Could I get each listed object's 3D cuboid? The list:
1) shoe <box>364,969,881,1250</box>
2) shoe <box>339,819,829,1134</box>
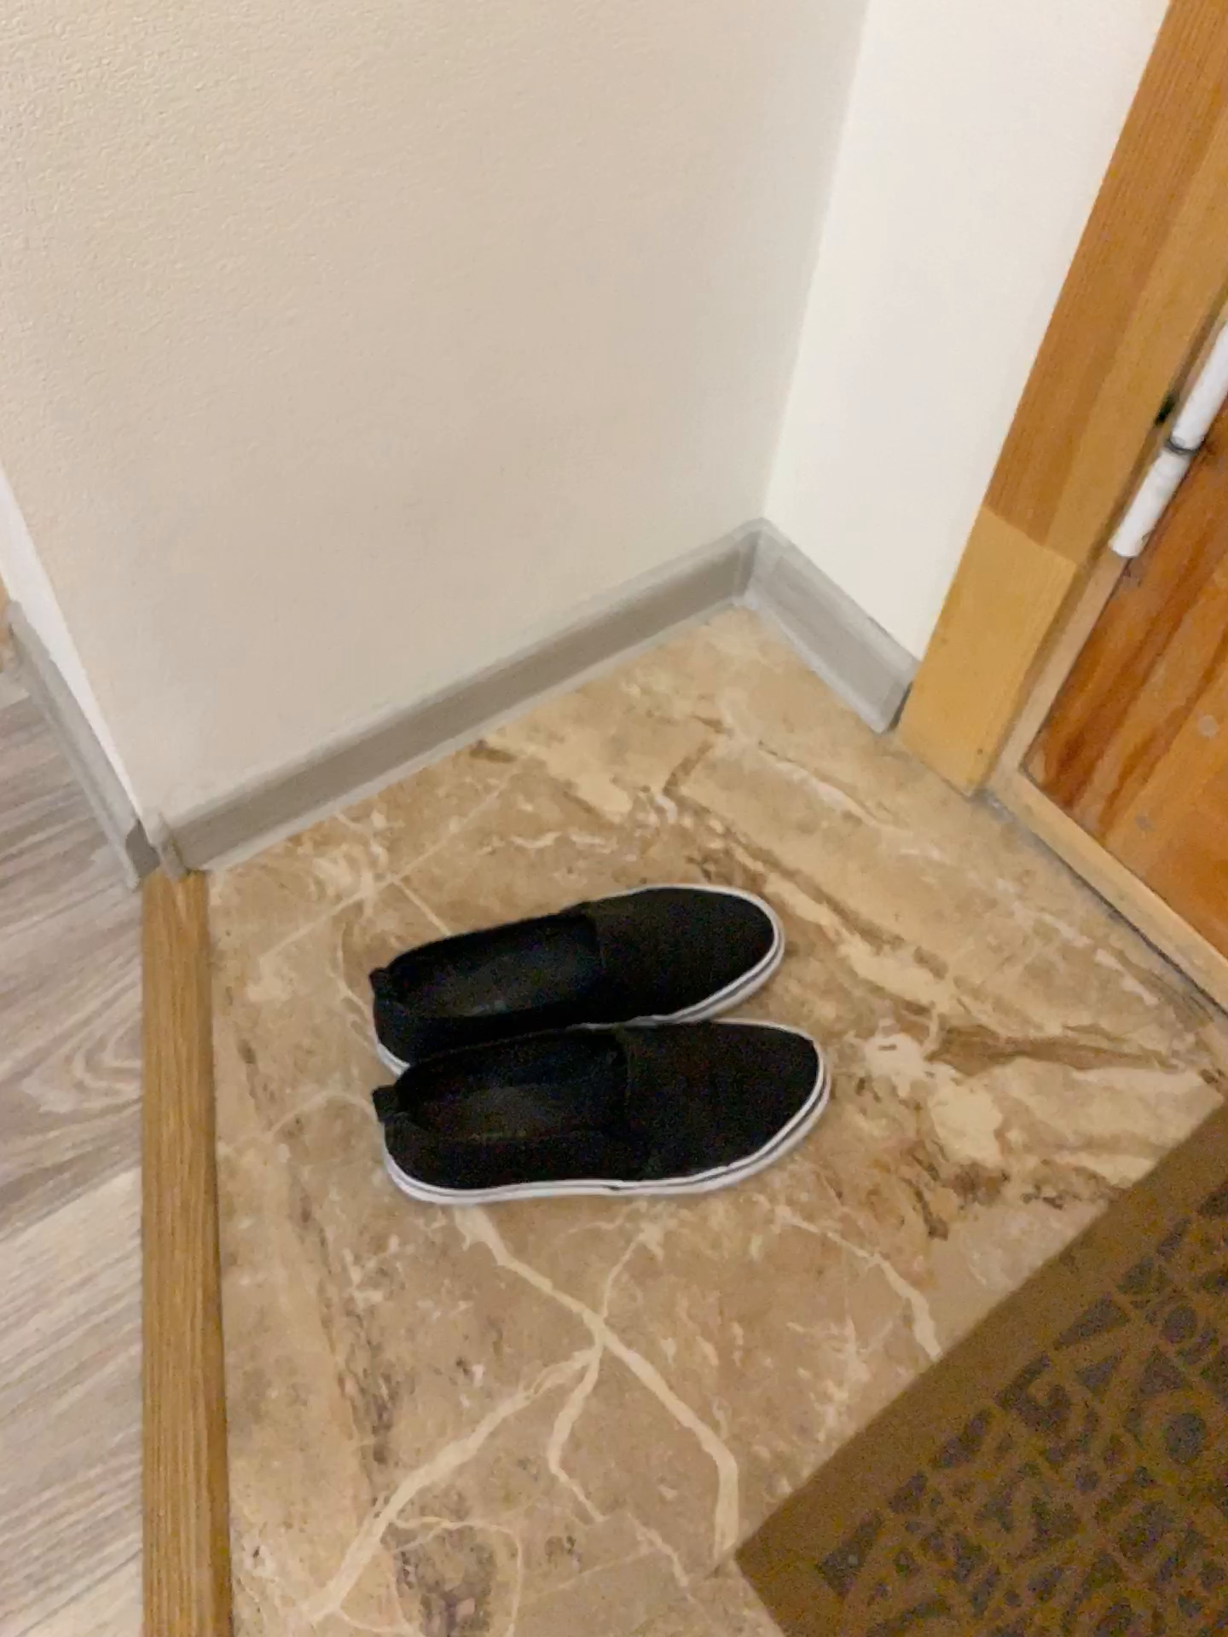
[{"bbox_3d":[0.001,0.151,0.670,0.250,0.060,0.090,-7,55,-9],"label":"shoe"},{"bbox_3d":[-0.016,0.085,0.714,0.250,0.060,0.090,-15,57,-15],"label":"shoe"}]
